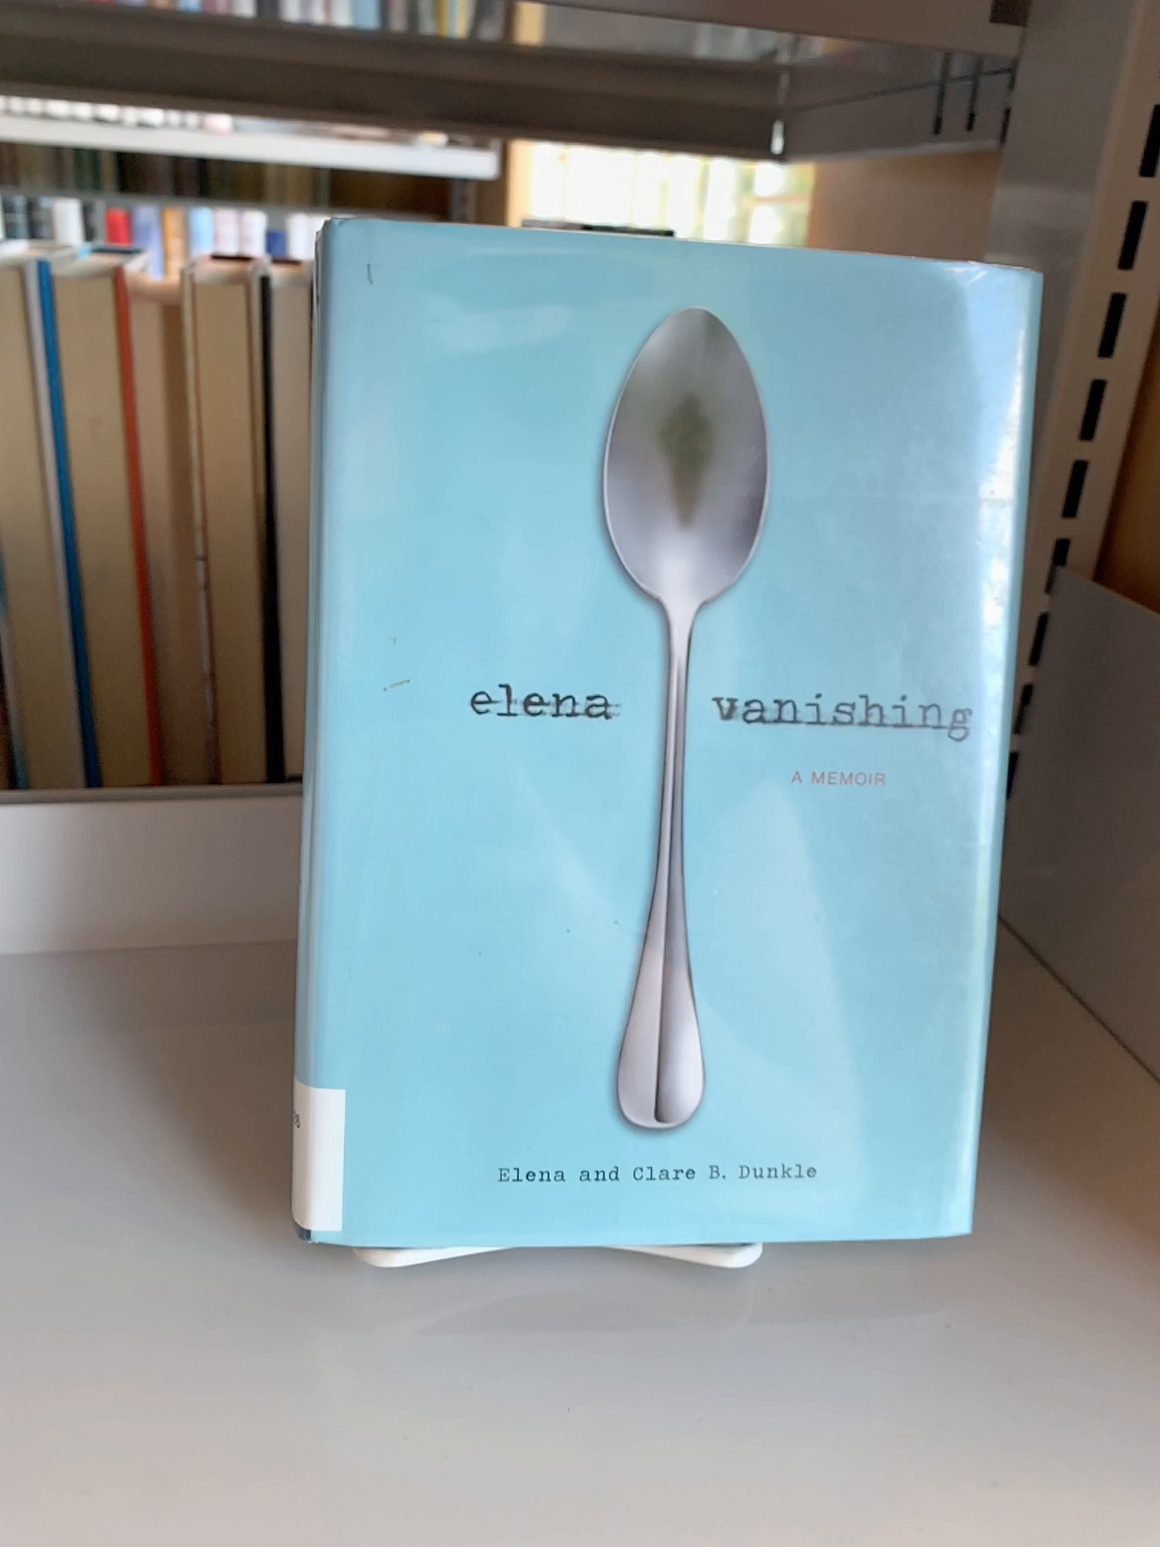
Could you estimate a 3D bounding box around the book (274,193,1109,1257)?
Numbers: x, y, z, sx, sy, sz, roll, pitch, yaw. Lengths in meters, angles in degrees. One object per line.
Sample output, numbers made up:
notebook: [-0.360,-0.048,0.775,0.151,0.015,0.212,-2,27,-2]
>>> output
book: [0.019,-0.005,0.257,0.159,0.204,0.035,1,6,-6]
